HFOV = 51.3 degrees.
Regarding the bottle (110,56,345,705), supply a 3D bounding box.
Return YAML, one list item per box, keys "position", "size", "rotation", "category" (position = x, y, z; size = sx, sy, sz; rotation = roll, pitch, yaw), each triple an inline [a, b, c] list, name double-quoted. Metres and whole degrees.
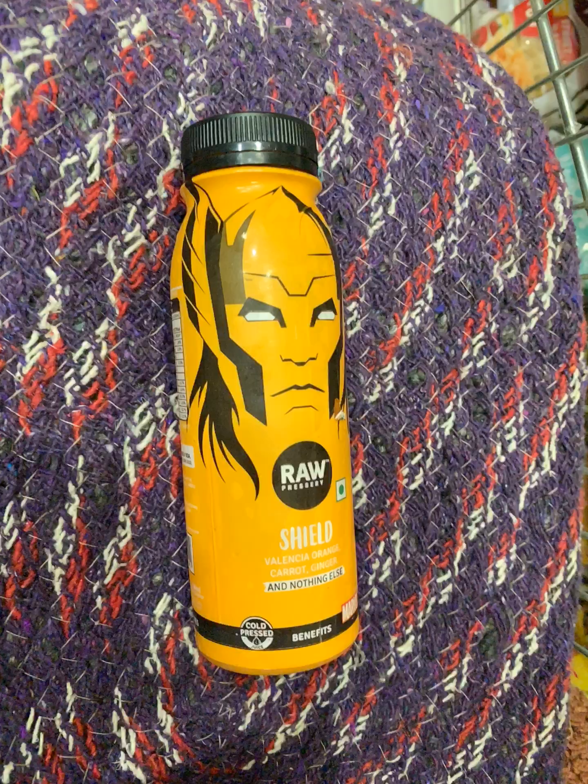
- position: [-0.022, -0.003, 0.183]
  size: [0.050, 0.050, 0.160]
  rotation: [-4, 92, -20]
  category: "bottle"
